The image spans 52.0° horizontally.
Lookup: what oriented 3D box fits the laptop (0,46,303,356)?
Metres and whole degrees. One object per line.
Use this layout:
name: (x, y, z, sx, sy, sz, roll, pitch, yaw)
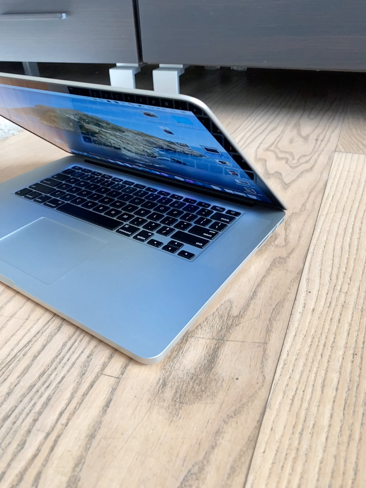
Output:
laptop: (-0.106, -0.096, 0.391, 0.362, 0.157, 0.236, 20, 40, 29)
